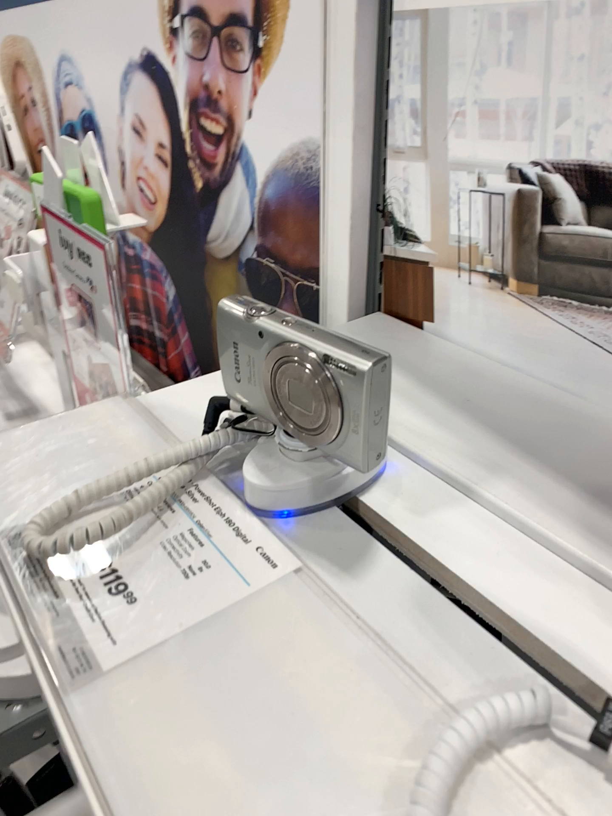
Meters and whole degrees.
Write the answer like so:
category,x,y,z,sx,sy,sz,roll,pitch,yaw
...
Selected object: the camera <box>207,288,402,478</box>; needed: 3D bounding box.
category,x,y,z,sx,sy,sz,roll,pitch,yaw
camera,-0.002,-0.015,0.284,0.022,0.051,0.099,-32,42,-32
